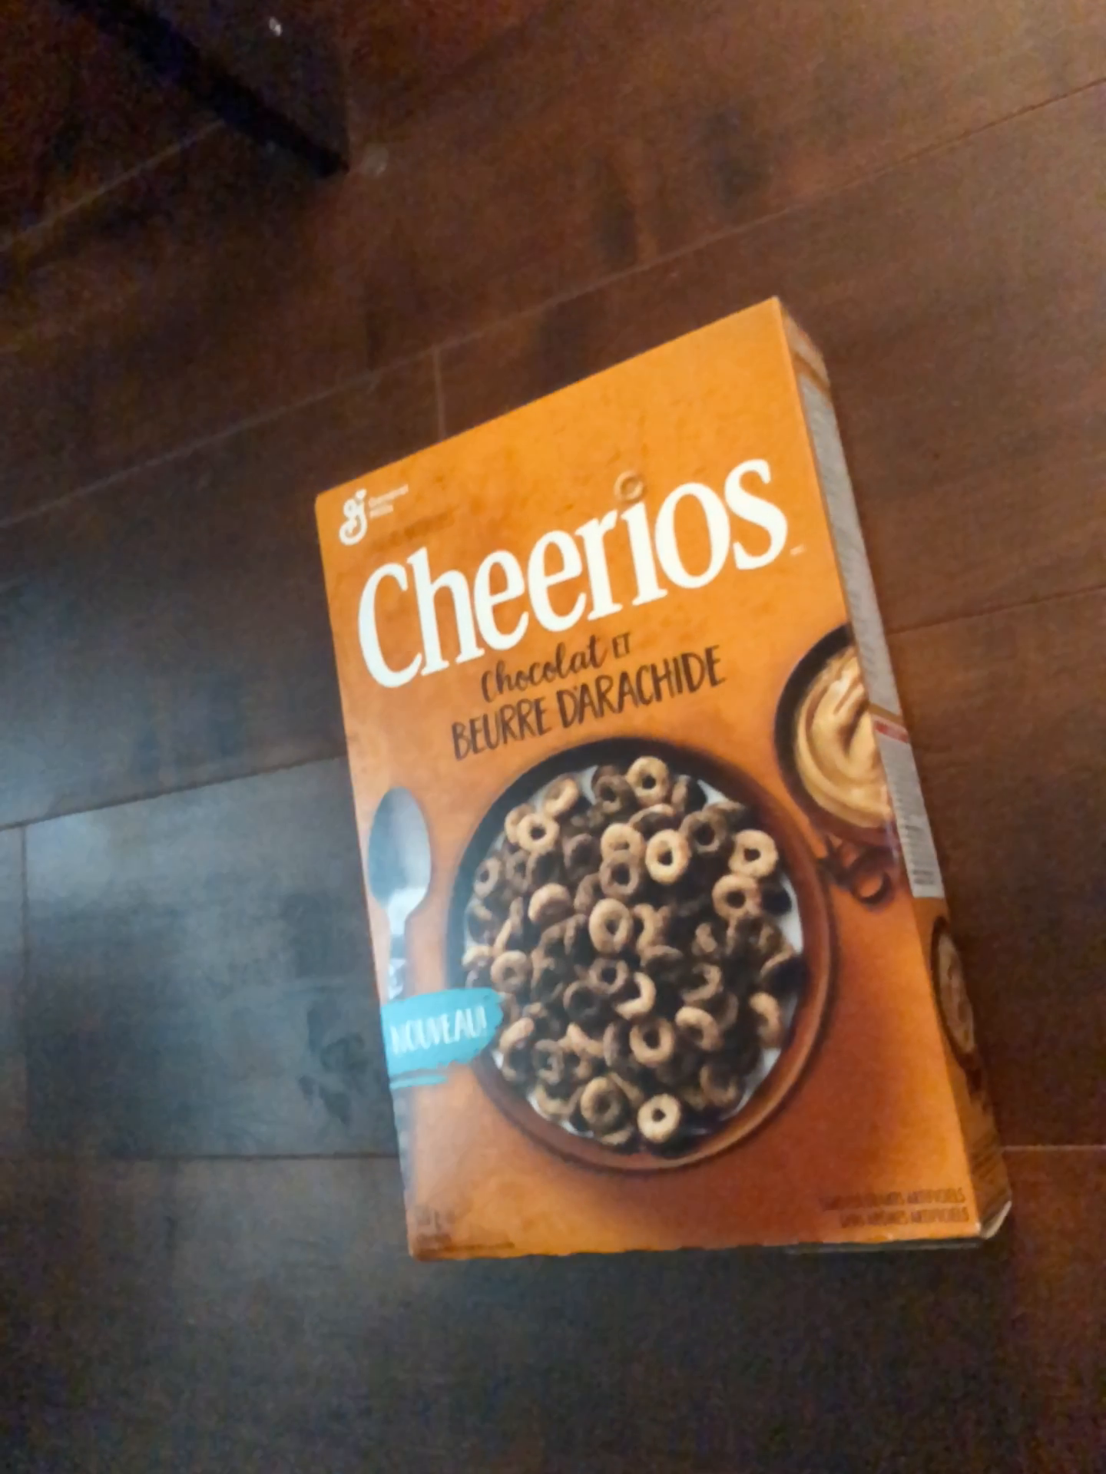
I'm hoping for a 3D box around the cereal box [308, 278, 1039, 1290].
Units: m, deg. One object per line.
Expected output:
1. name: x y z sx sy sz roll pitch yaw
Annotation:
1. cereal box: 0.026 0.025 0.433 0.200 0.060 0.300 -16 76 29
